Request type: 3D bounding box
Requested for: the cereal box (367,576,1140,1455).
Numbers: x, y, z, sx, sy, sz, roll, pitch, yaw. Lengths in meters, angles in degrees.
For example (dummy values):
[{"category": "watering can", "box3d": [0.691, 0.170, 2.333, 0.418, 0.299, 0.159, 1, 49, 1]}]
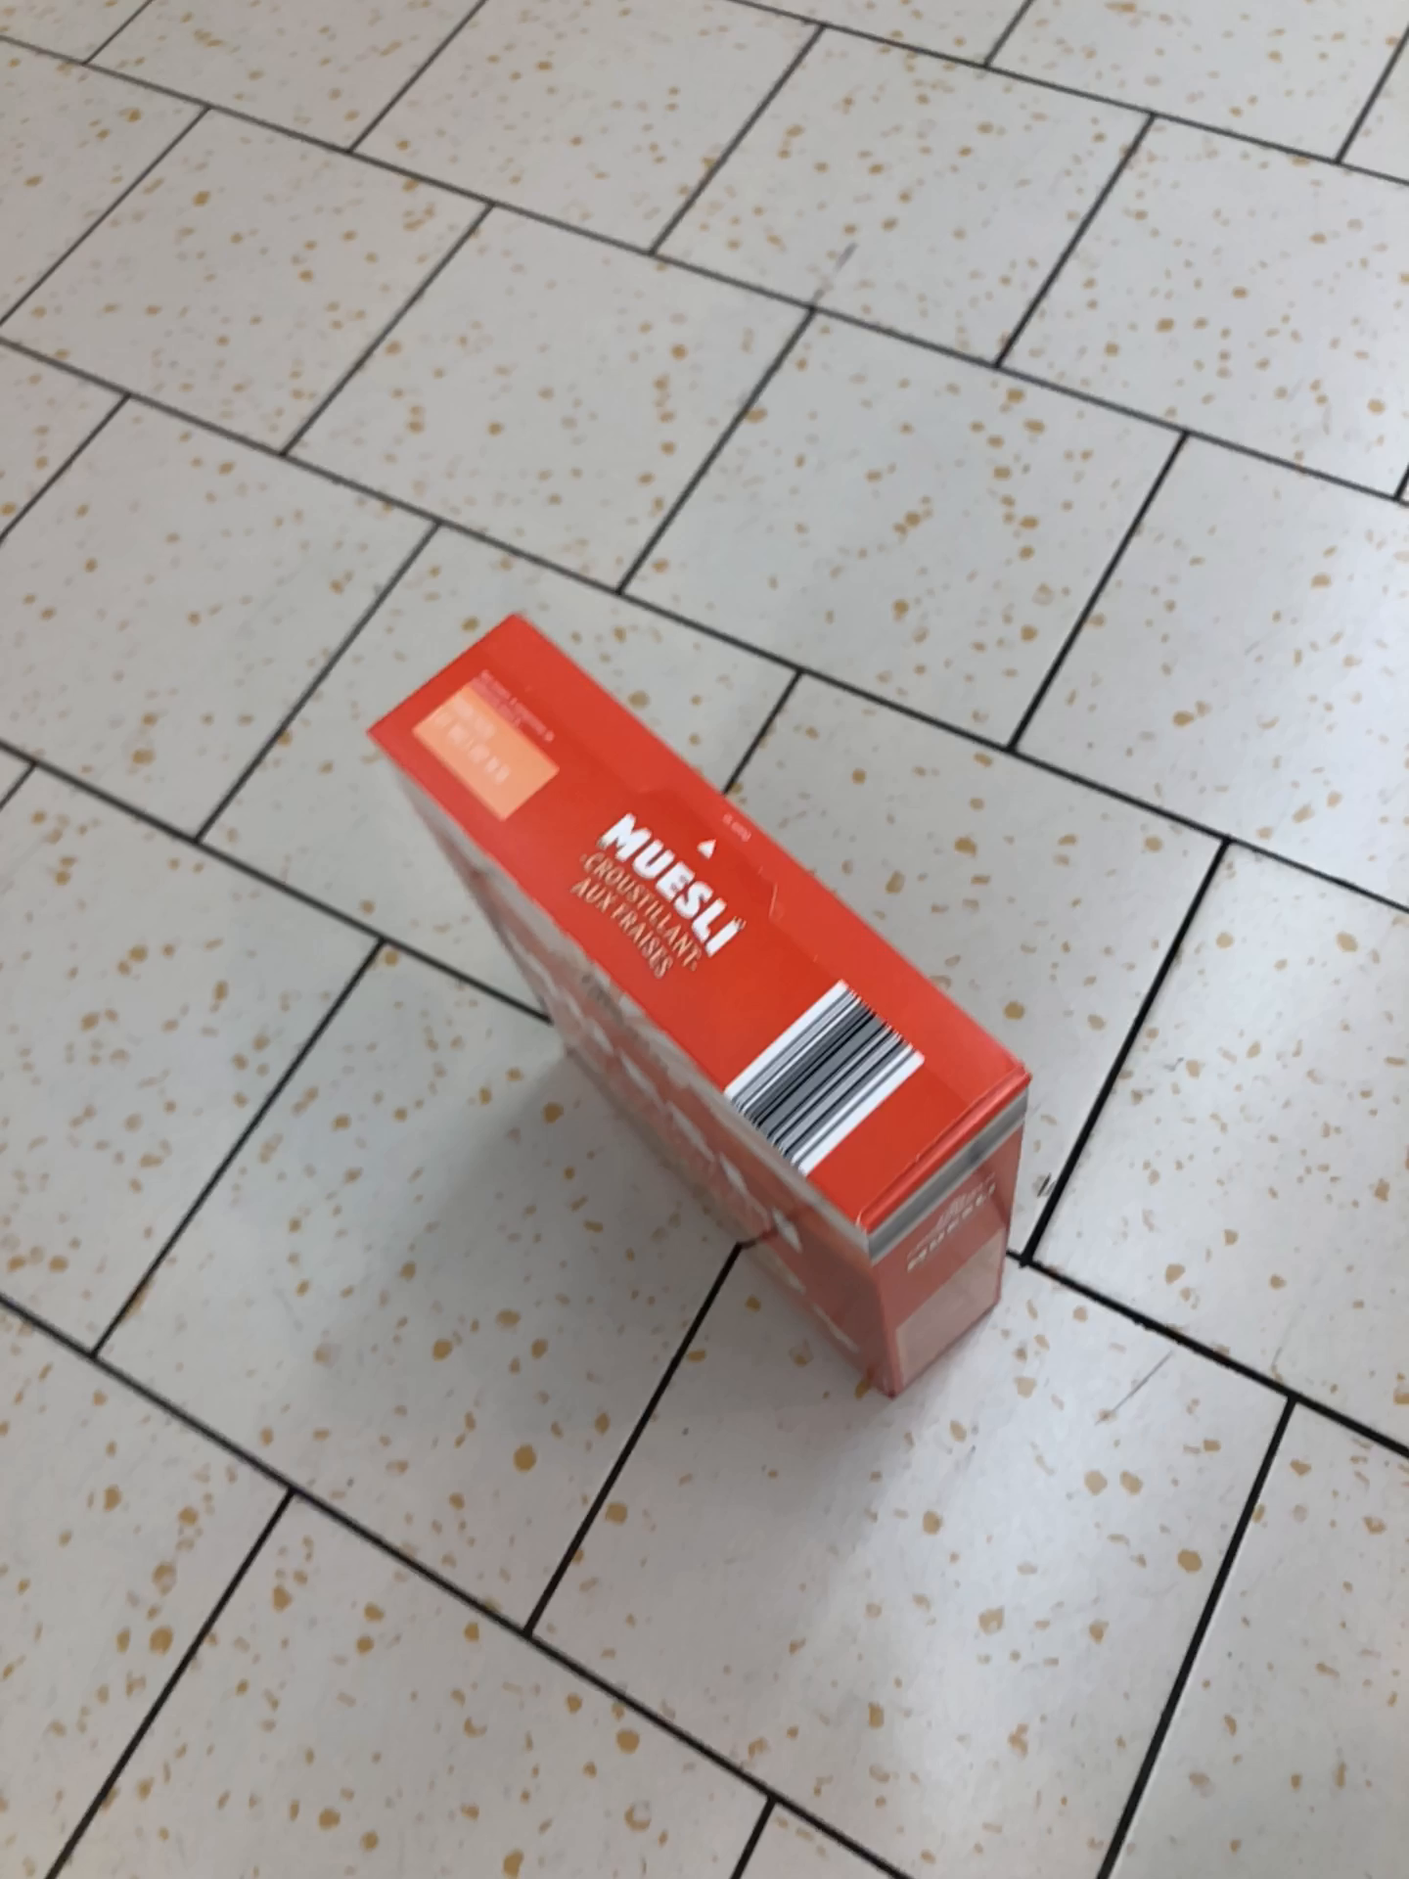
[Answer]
[{"category": "cereal box", "box3d": [0.019, 0.042, 0.484, 0.070, 0.249, 0.200, -40, 66, -11]}]
